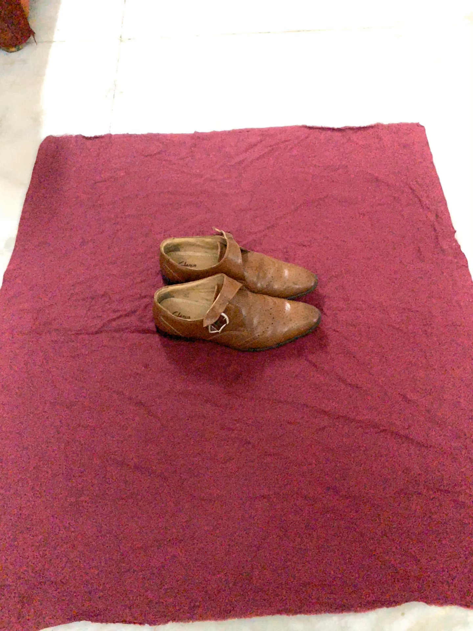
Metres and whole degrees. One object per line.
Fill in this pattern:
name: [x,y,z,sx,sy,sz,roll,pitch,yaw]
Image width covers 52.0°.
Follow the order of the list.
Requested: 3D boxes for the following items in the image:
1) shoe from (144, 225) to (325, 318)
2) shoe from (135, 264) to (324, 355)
shoe: [-0.001,-0.082,0.900,0.310,0.089,0.101,7,60,5]
shoe: [-0.008,-0.010,0.829,0.300,0.089,0.101,4,59,3]
